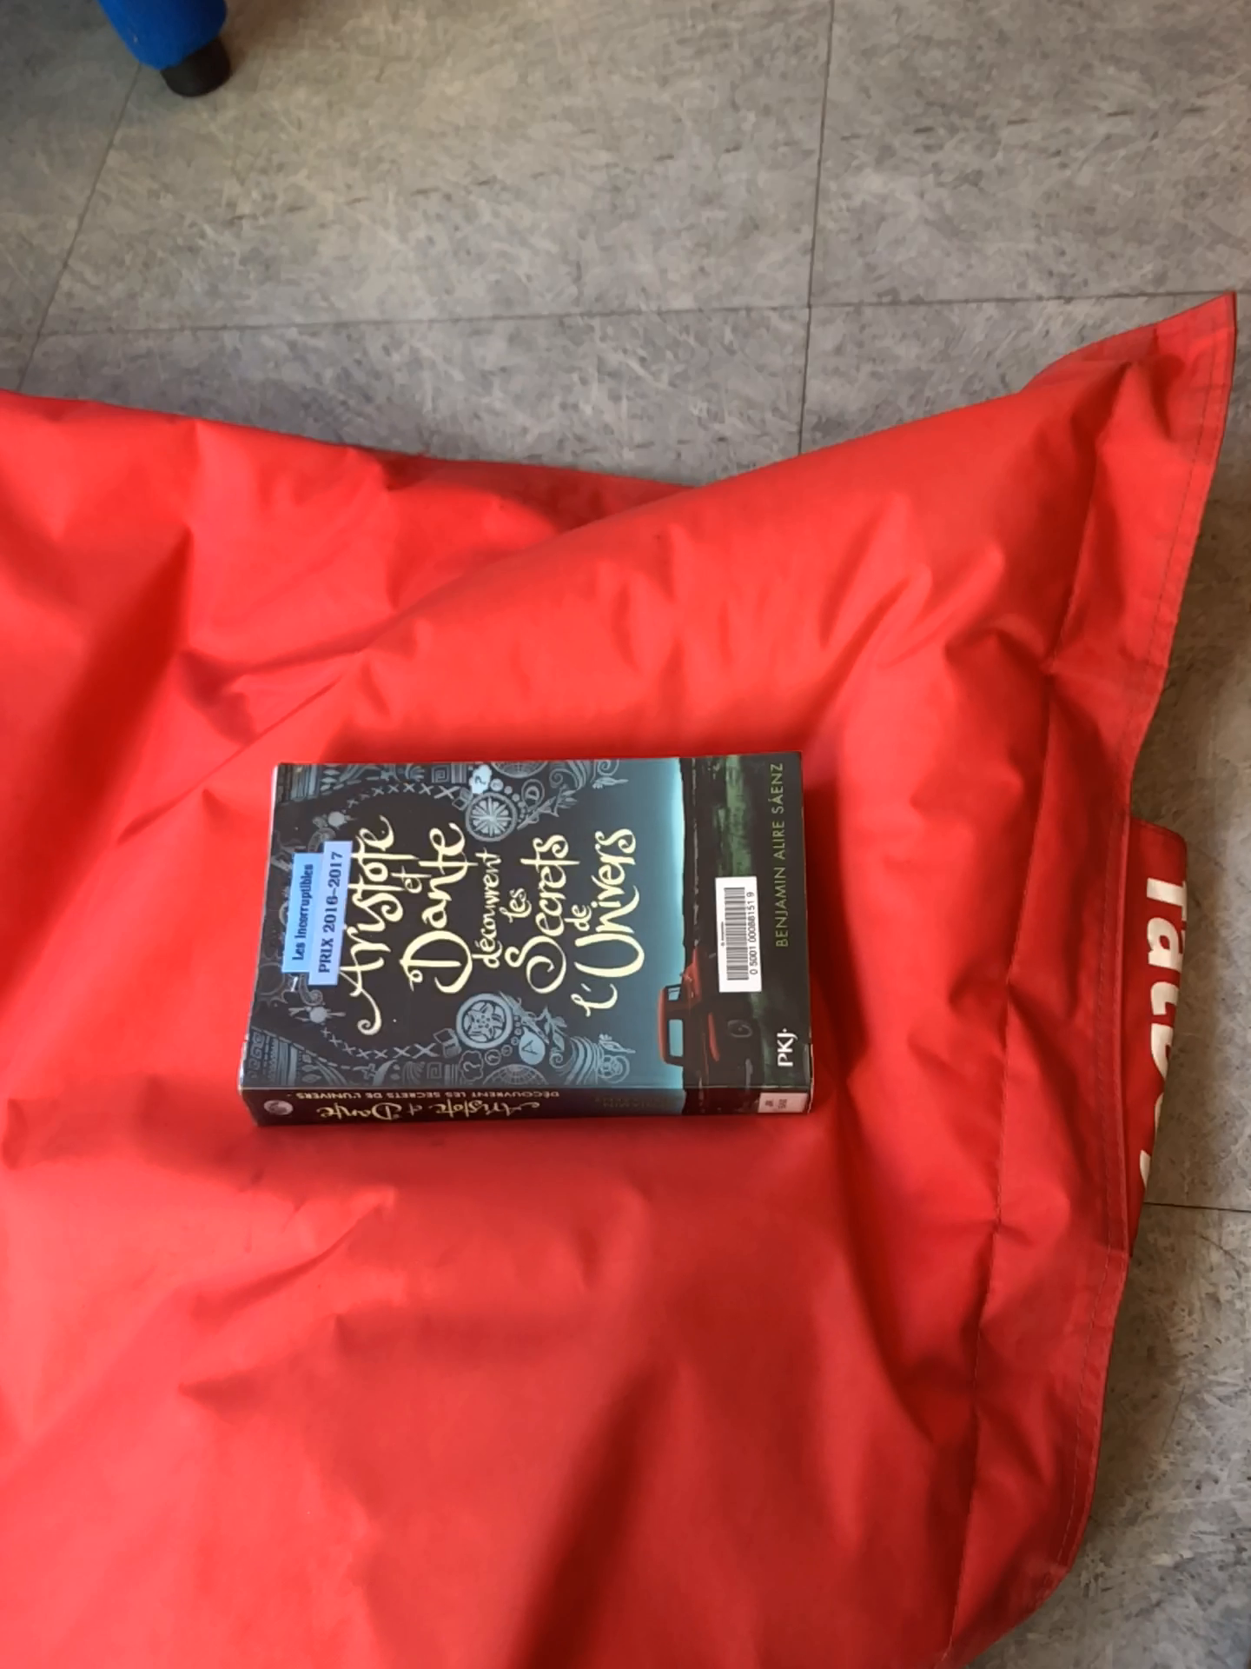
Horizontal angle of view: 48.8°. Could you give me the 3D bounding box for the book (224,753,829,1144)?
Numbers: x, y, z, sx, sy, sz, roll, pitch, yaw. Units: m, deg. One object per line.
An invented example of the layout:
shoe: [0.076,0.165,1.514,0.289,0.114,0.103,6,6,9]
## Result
book: [-0.037,0.047,0.565,0.228,0.048,0.149,-1,71,3]
